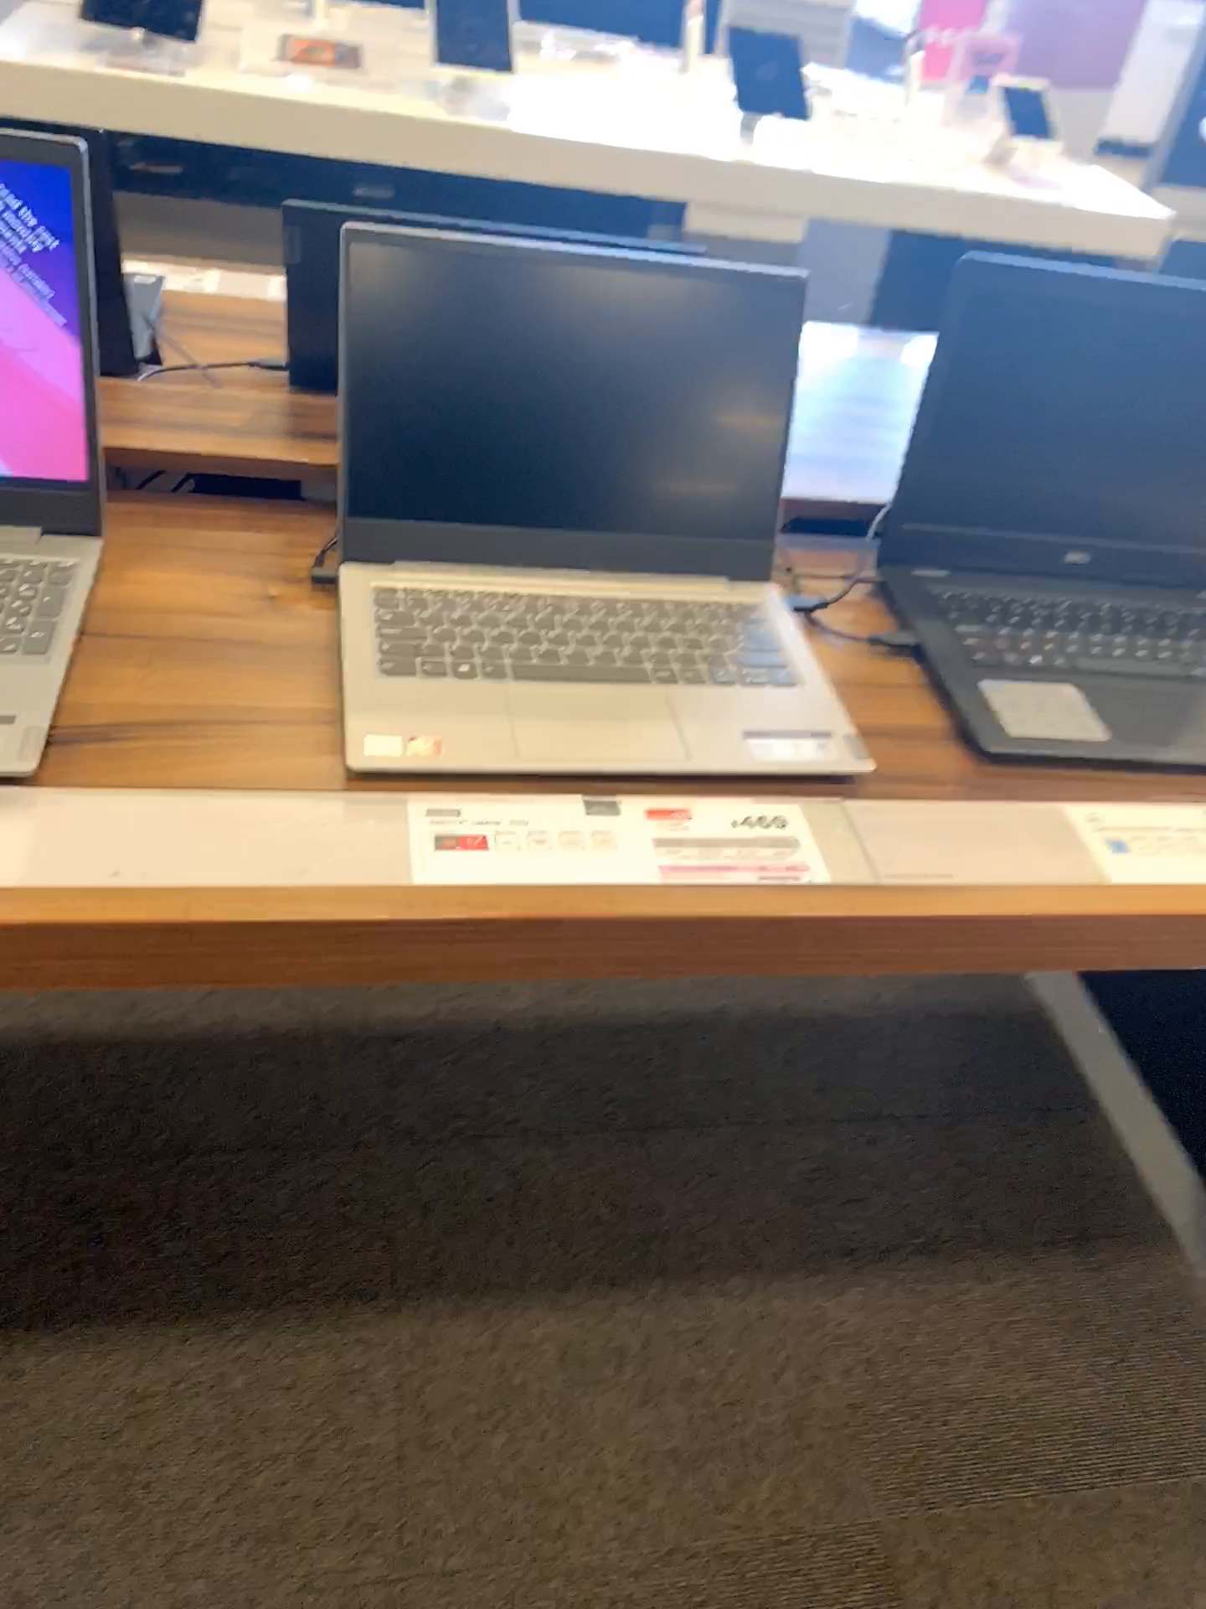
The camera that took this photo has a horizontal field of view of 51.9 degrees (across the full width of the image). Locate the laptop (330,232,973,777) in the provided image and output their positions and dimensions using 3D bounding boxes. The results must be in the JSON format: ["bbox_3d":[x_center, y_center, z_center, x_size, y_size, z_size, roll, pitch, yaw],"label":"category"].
[{"bbox_3d":[-0.006,-0.190,0.774,0.316,0.199,0.296,1,40,-13],"label":"laptop"}]
